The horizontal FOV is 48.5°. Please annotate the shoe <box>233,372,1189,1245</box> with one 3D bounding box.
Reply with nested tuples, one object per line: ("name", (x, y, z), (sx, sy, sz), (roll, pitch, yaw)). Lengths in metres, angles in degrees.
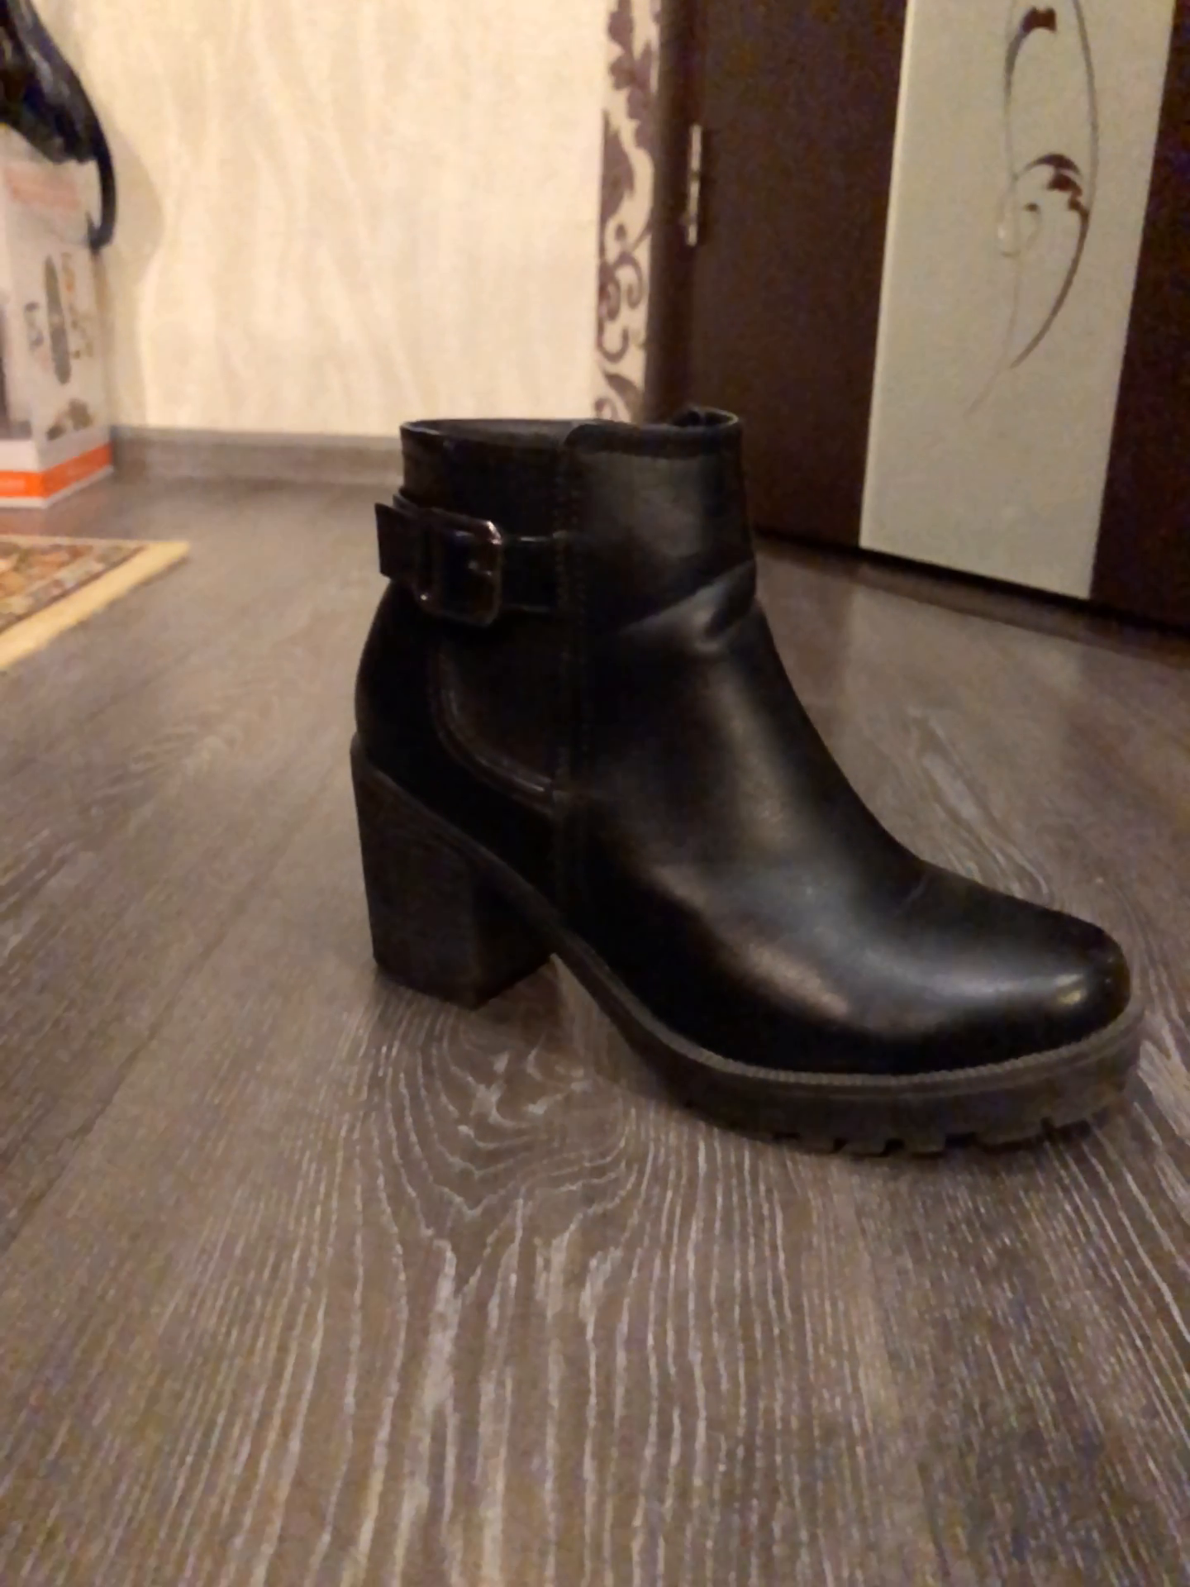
("shoe", (0.032, -0.015, 0.361), (0.240, 0.179, 0.090), (11, 21, 23))
